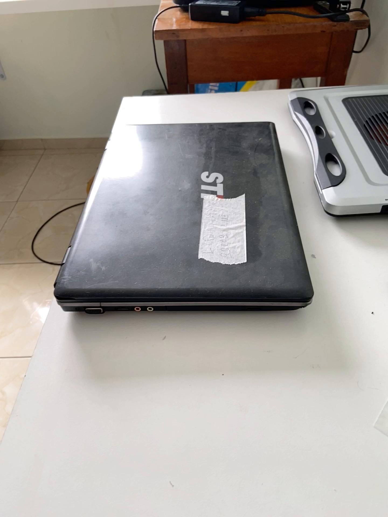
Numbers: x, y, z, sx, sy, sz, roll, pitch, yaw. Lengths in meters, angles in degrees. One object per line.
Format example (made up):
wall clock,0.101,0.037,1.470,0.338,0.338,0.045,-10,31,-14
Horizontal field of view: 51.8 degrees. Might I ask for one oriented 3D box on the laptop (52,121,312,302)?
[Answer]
laptop,-0.005,-0.082,0.481,0.234,0.006,0.339,0,44,3
